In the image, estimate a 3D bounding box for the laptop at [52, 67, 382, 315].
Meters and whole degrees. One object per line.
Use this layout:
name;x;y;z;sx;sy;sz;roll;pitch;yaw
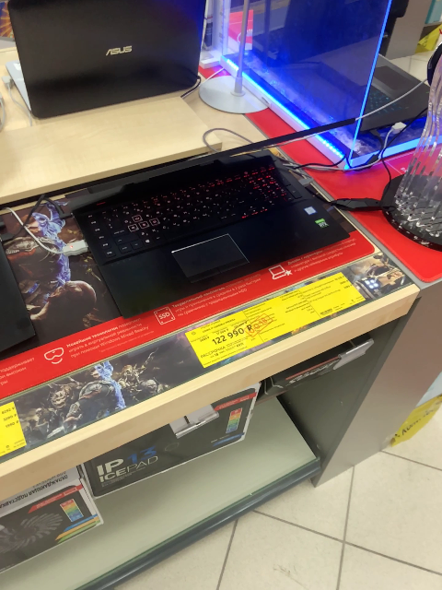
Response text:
laptop;-0.012;-0.181;0.759;0.395;0.166;0.258;-20;55;-19
